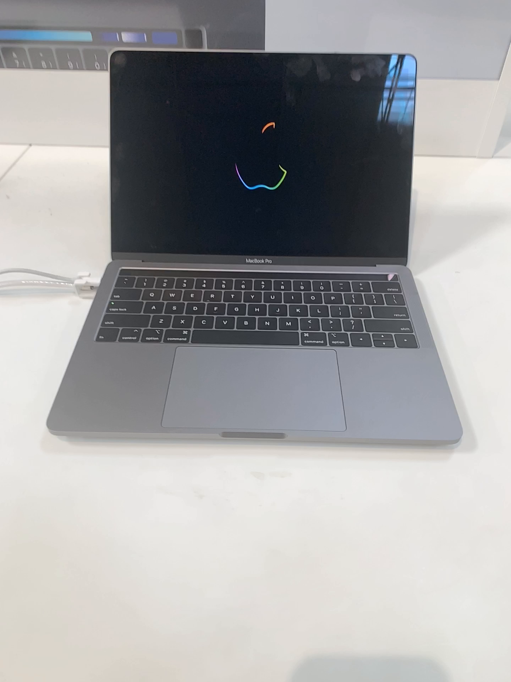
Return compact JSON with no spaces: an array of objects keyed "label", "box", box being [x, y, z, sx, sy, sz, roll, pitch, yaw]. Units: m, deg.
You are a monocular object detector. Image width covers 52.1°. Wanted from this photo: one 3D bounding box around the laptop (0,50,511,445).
[{"label":"laptop","box":[0.004,-0.098,0.420,0.284,0.150,0.316,1,45,1]}]
